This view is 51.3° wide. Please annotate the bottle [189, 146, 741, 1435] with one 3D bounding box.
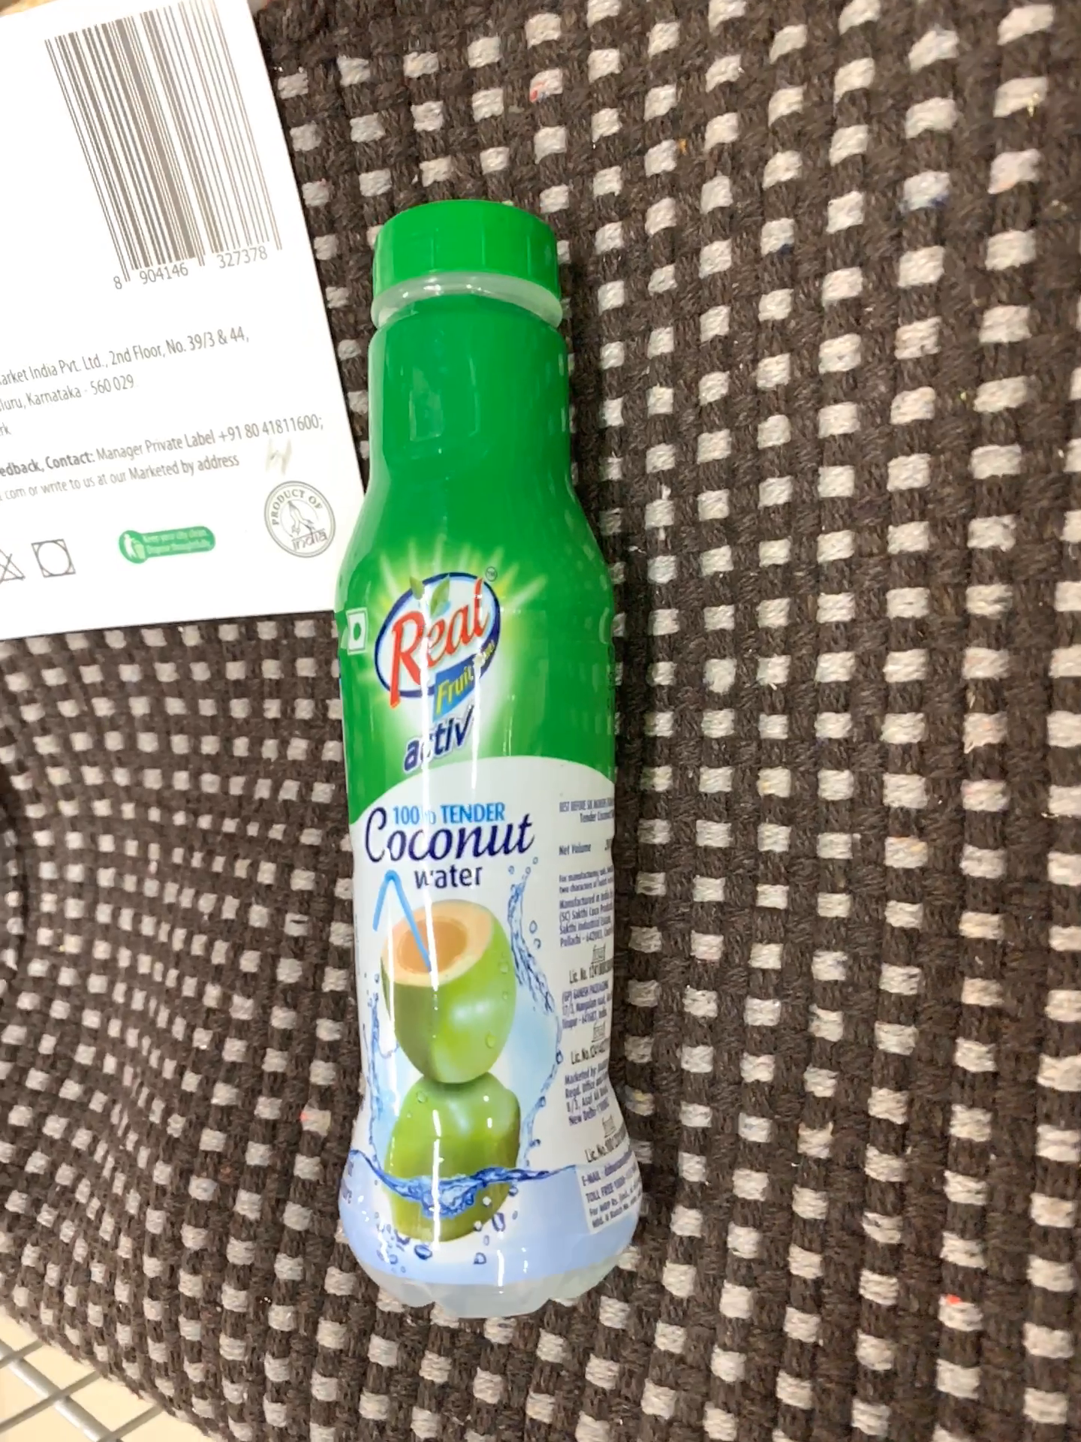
[{"bbox_3d":[-0.007,0.013,0.175,0.060,0.040,0.170,-2,97,21],"label":"bottle"}]
